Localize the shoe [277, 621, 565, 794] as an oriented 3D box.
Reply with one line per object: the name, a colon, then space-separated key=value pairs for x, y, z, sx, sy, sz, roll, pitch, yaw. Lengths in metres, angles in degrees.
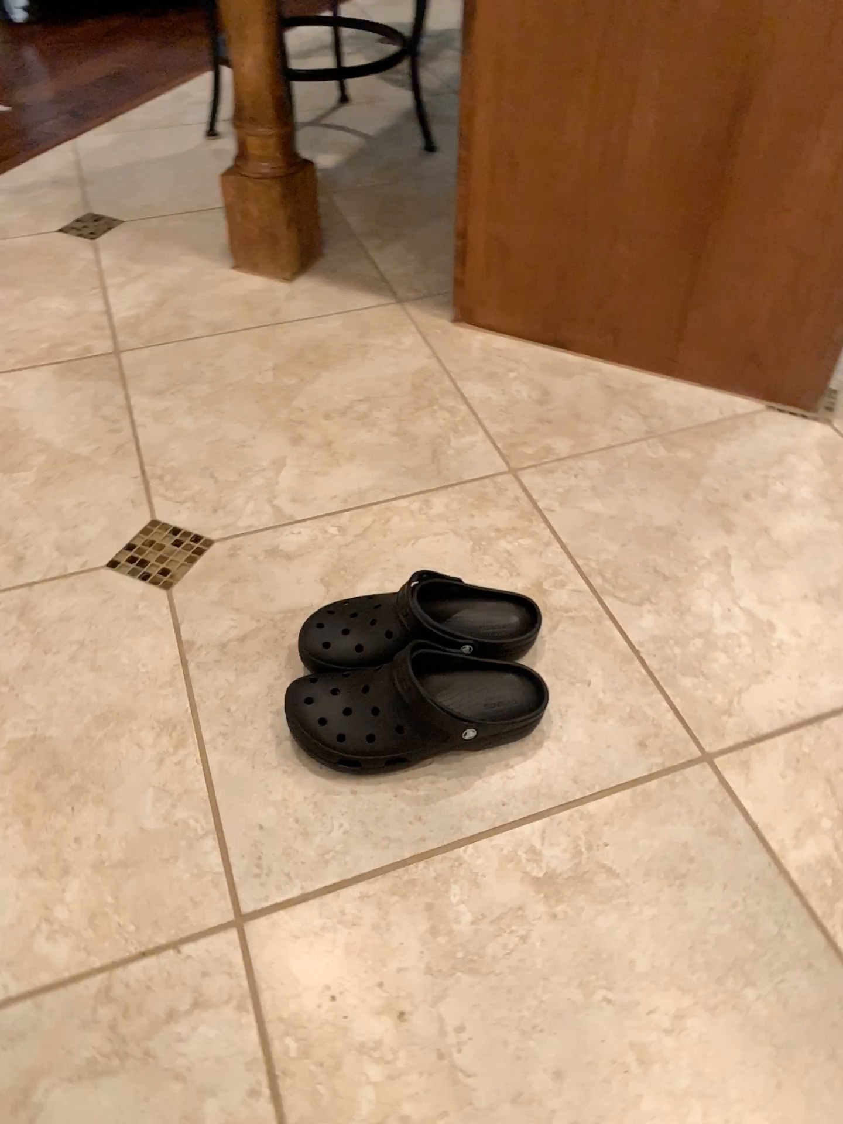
shoe: x=-0.006 y=0.150 z=0.901 sx=0.278 sy=0.085 sz=0.124 roll=-5 pitch=46 yaw=-4

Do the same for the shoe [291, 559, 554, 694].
shoe: x=-0.001 y=0.073 z=0.980 sx=0.278 sy=0.085 sz=0.114 roll=-2 pitch=46 yaw=-2
